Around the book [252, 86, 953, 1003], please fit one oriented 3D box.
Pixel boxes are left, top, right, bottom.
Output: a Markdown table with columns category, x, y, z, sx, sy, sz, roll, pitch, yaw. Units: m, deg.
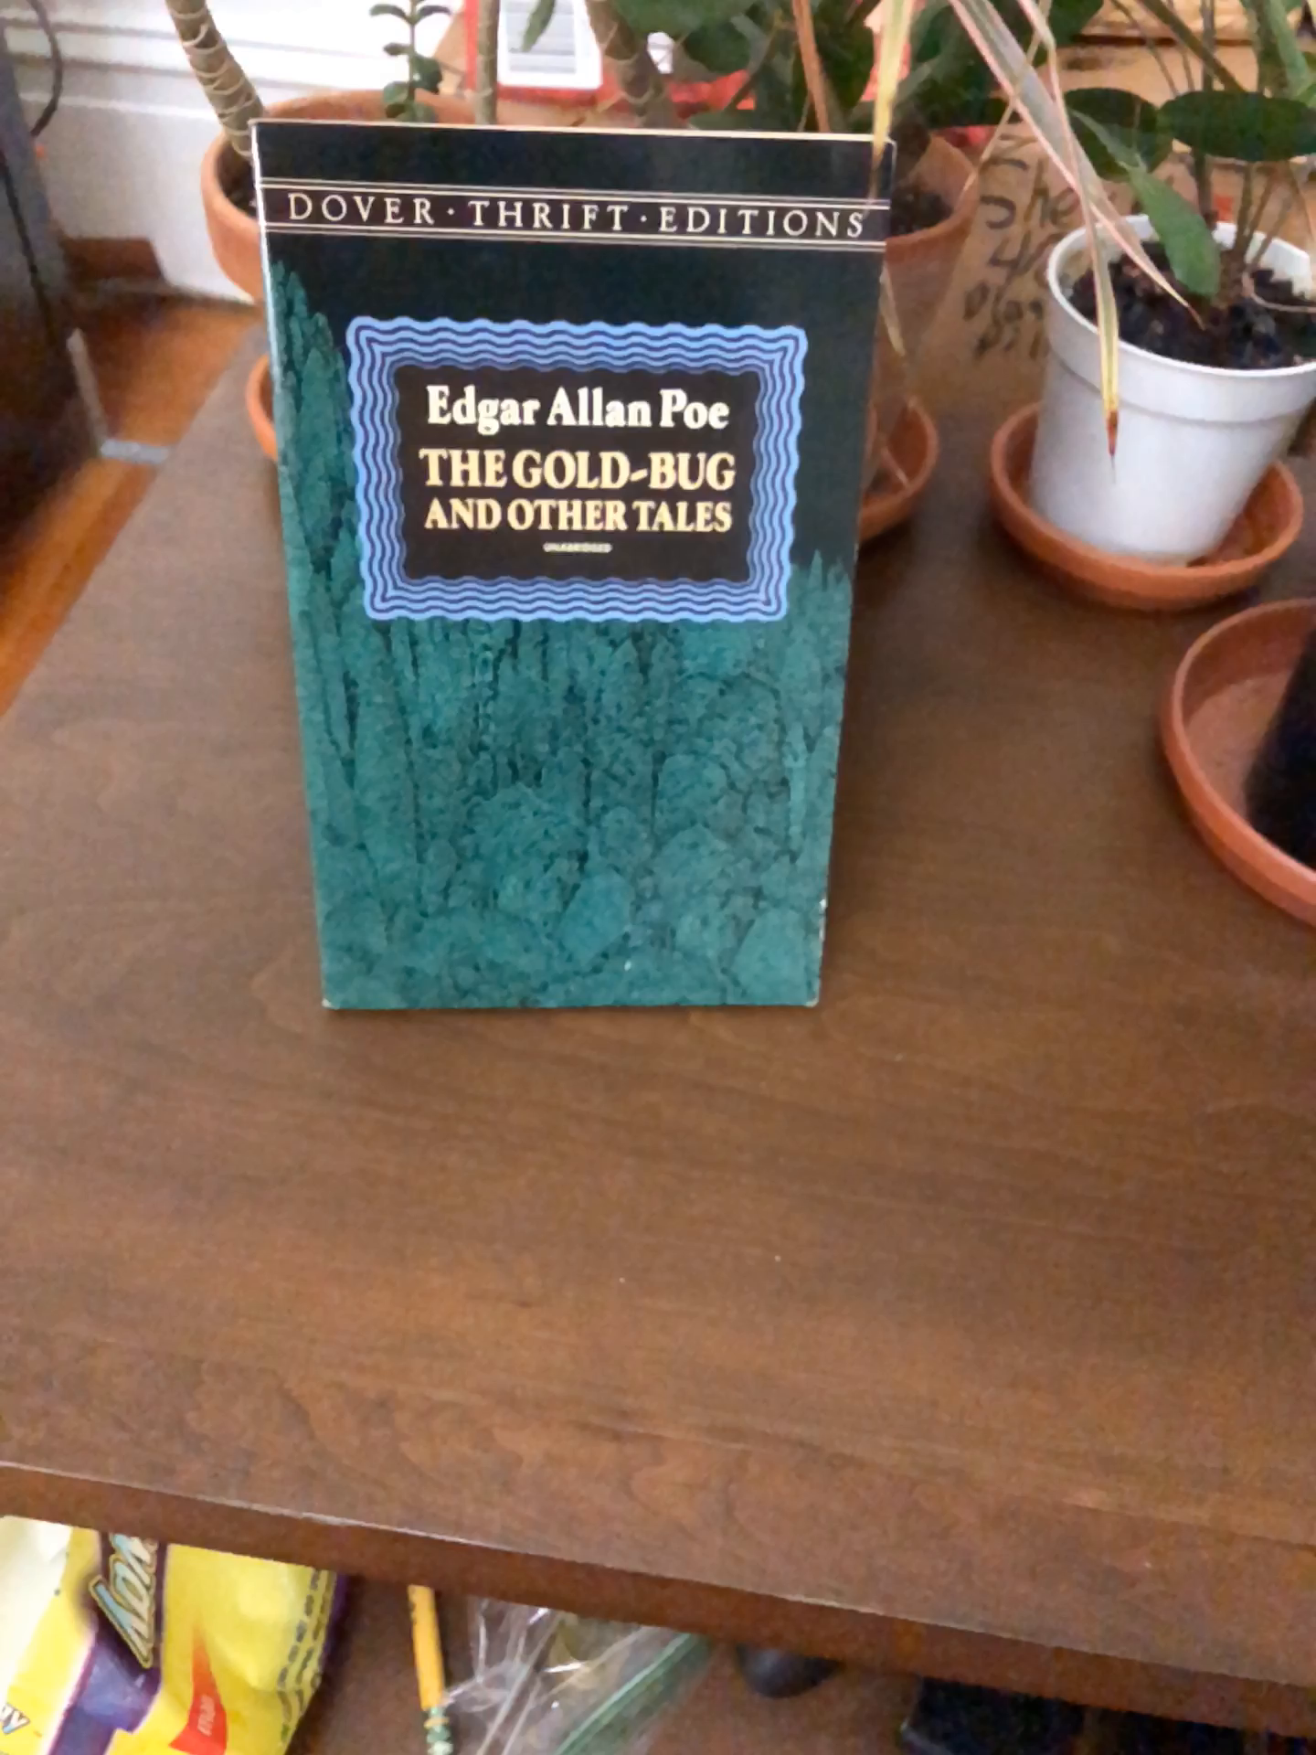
| category | x | y | z | sx | sy | sz | roll | pitch | yaw |
| --- | --- | --- | --- | --- | --- | --- | --- | --- | --- |
| book | -0.013 | -0.066 | 0.348 | 0.140 | 0.209 | 0.020 | 0 | 26 | -4 |
